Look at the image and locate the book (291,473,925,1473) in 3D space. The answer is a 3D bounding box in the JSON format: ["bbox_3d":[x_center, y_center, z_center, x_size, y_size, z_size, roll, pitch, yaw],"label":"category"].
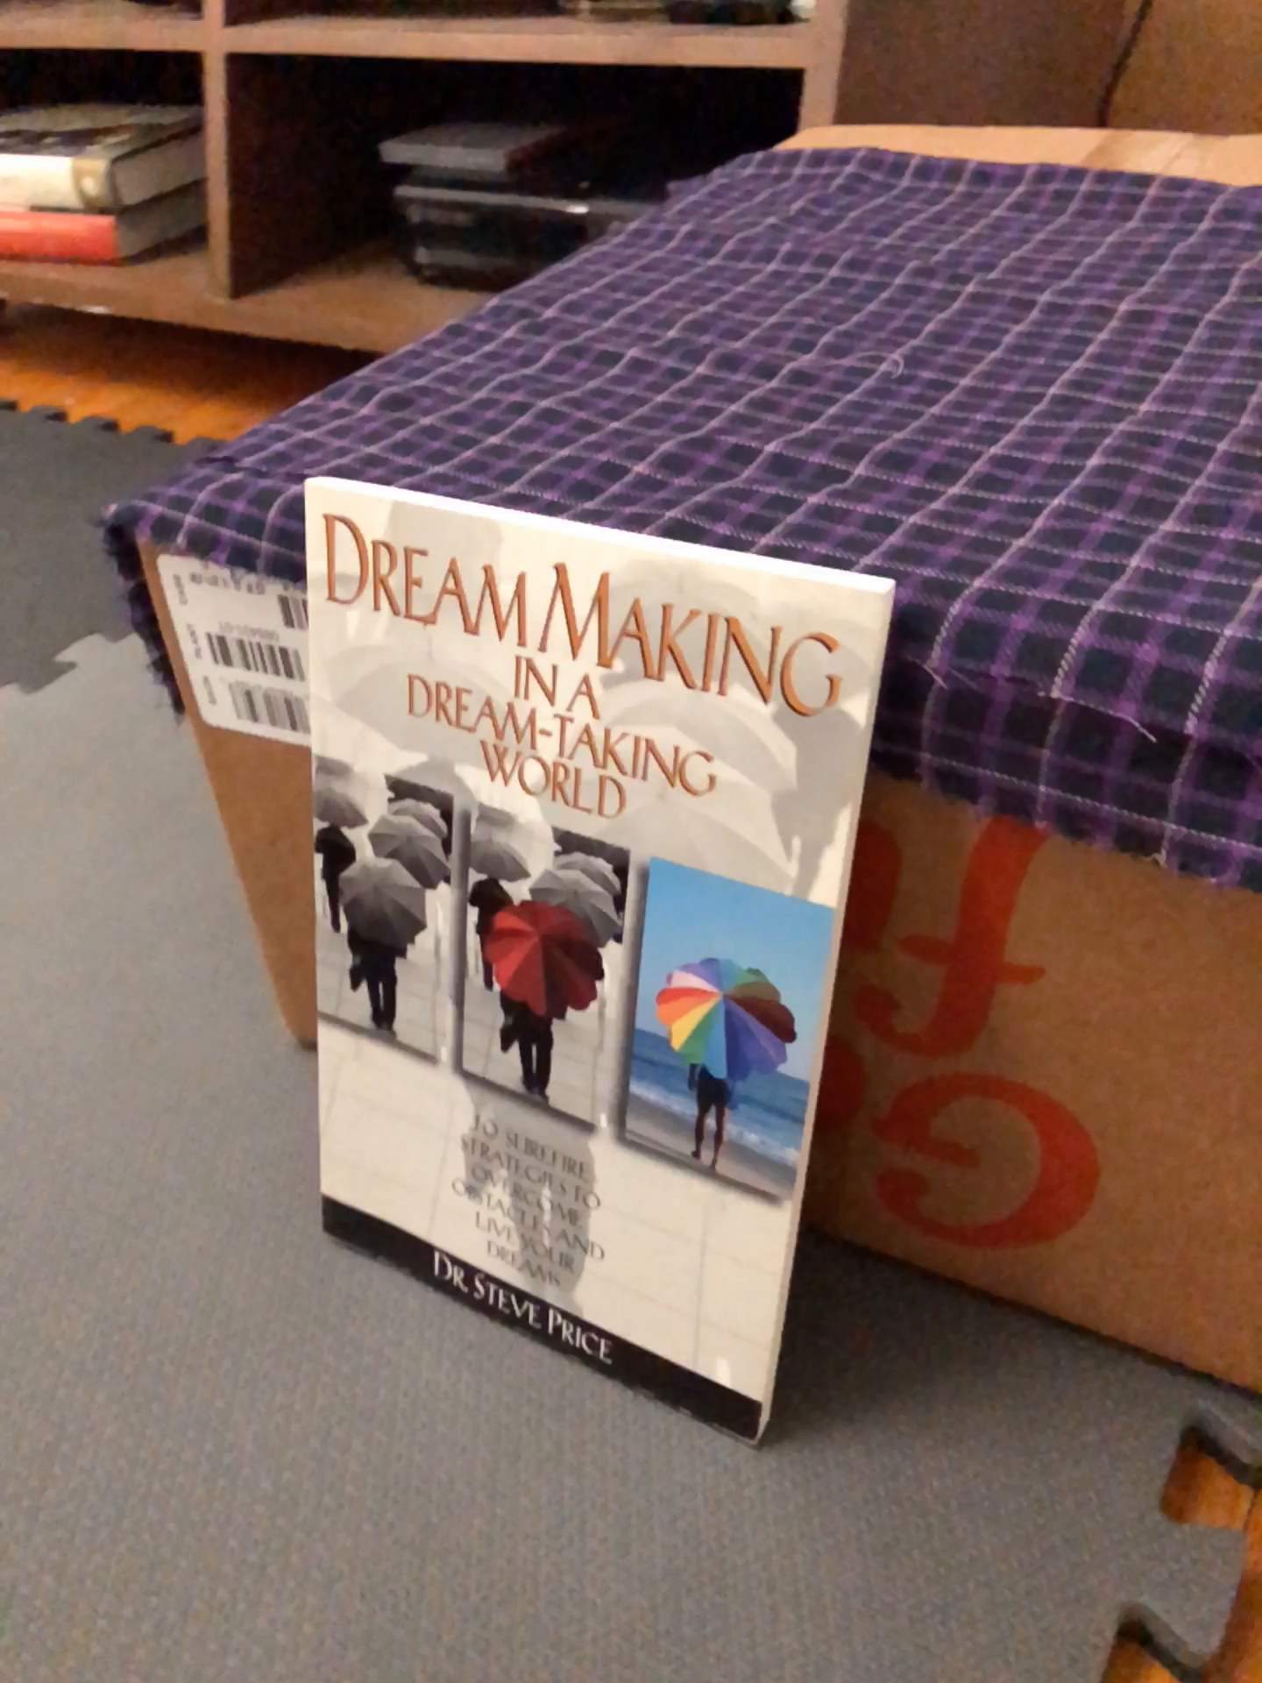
[{"bbox_3d":[-0.017,0.032,0.345,0.150,0.219,0.020,17,27,28],"label":"book"}]
